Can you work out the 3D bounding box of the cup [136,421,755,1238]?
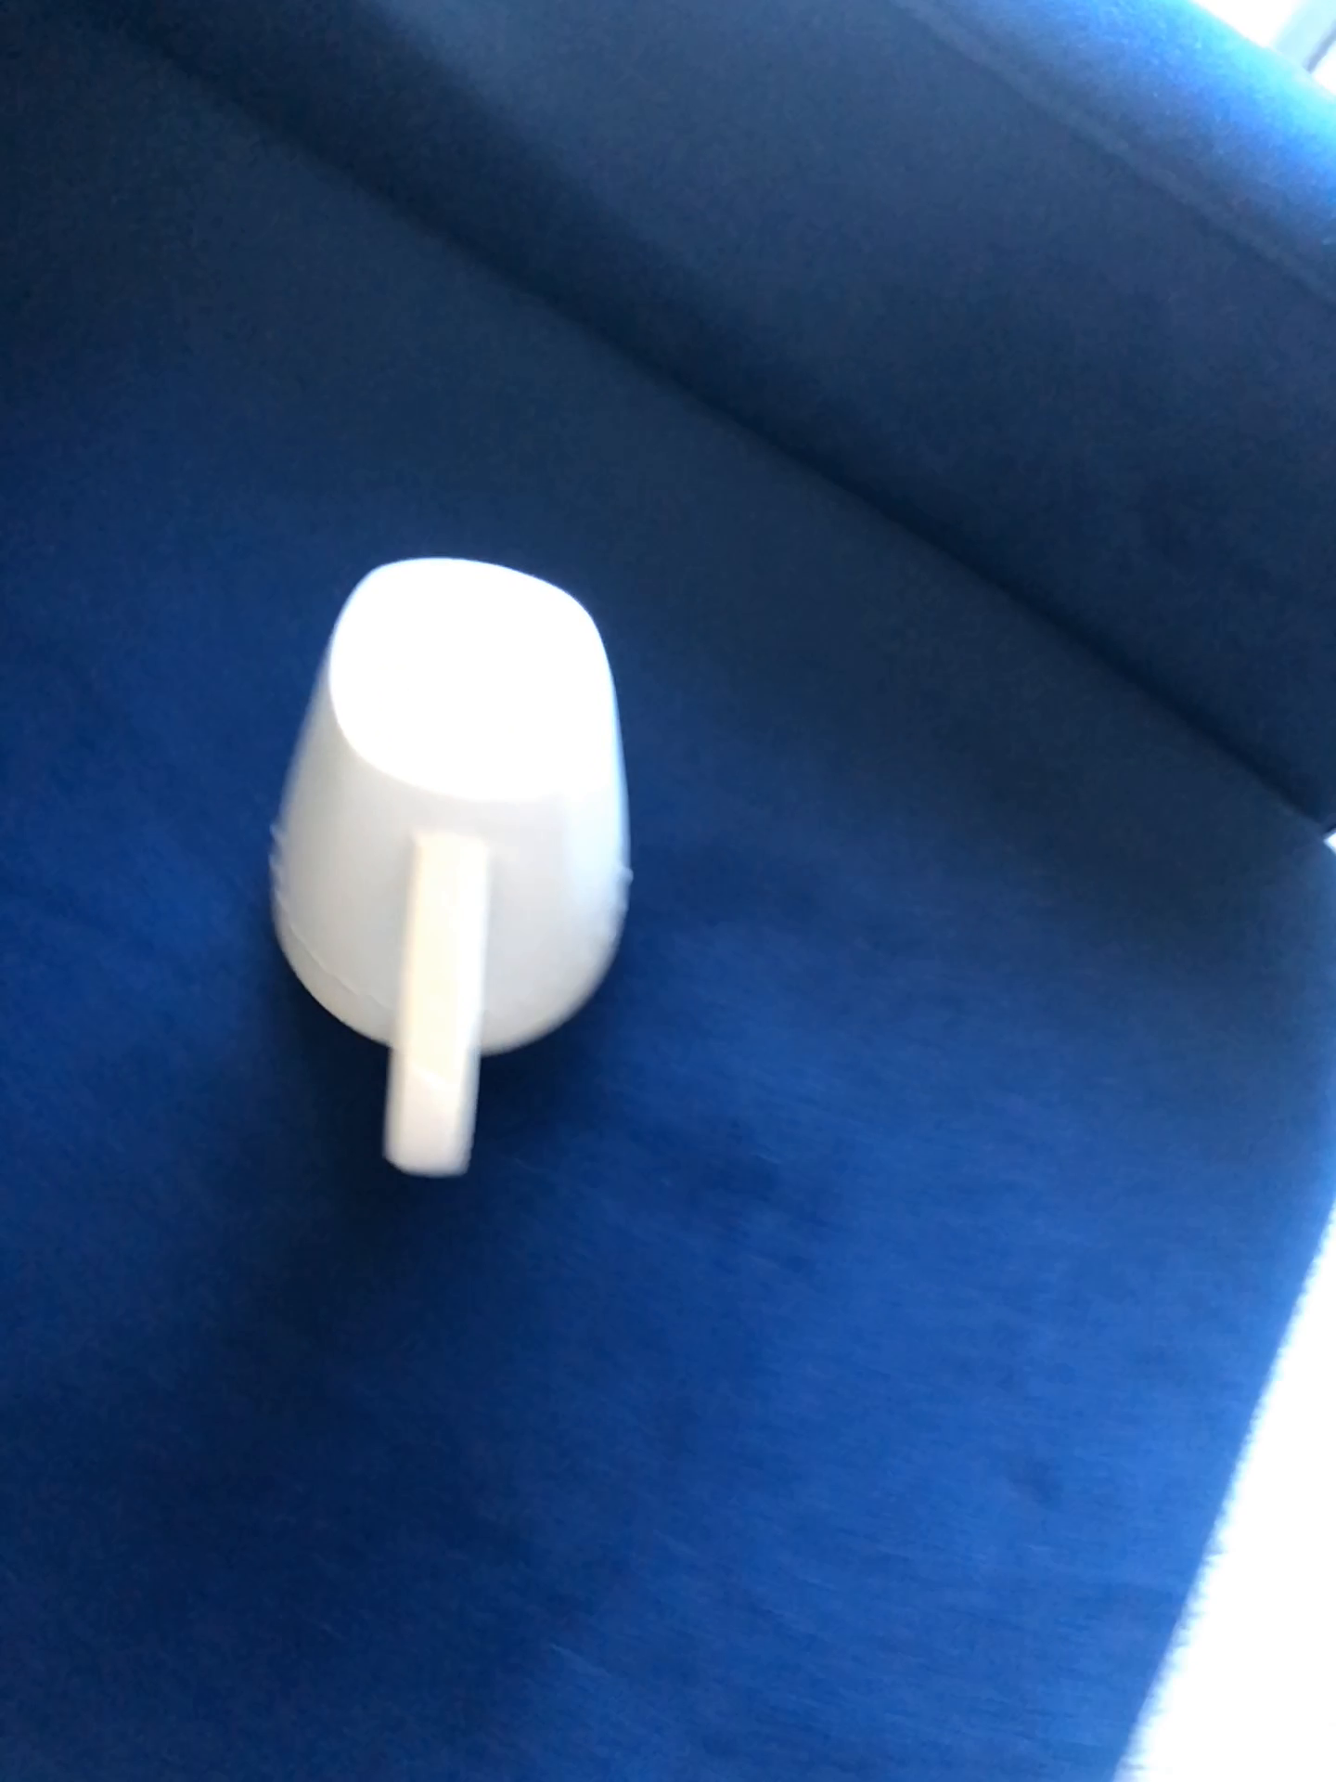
[{"bbox_3d":[-0.050,-0.008,0.336,0.110,0.090,0.150,5,65,-14],"label":"cup"}]
